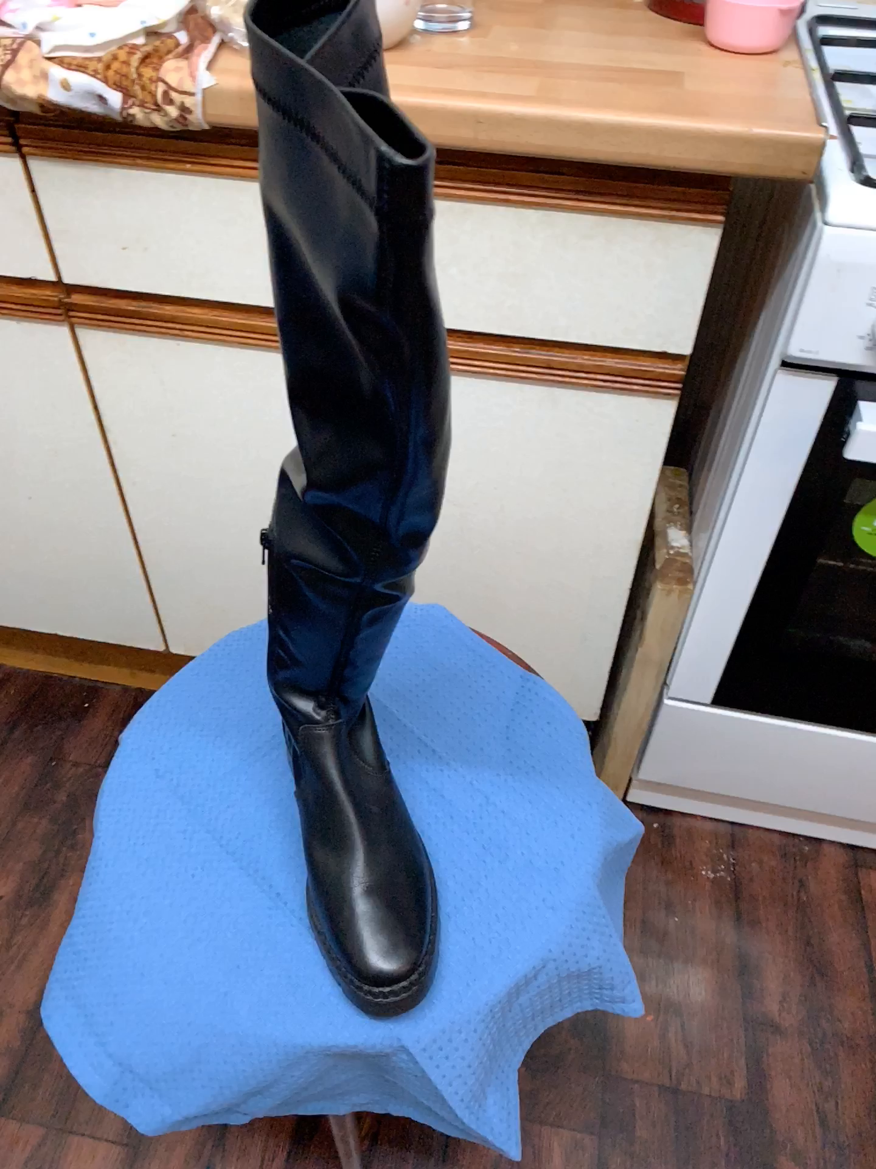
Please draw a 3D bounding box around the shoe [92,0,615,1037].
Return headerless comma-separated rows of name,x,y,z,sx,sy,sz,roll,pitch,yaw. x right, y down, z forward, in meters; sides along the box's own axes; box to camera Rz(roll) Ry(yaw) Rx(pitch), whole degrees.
shoe,-0.056,-0.009,0.486,0.107,0.535,0.273,-13,46,-15
